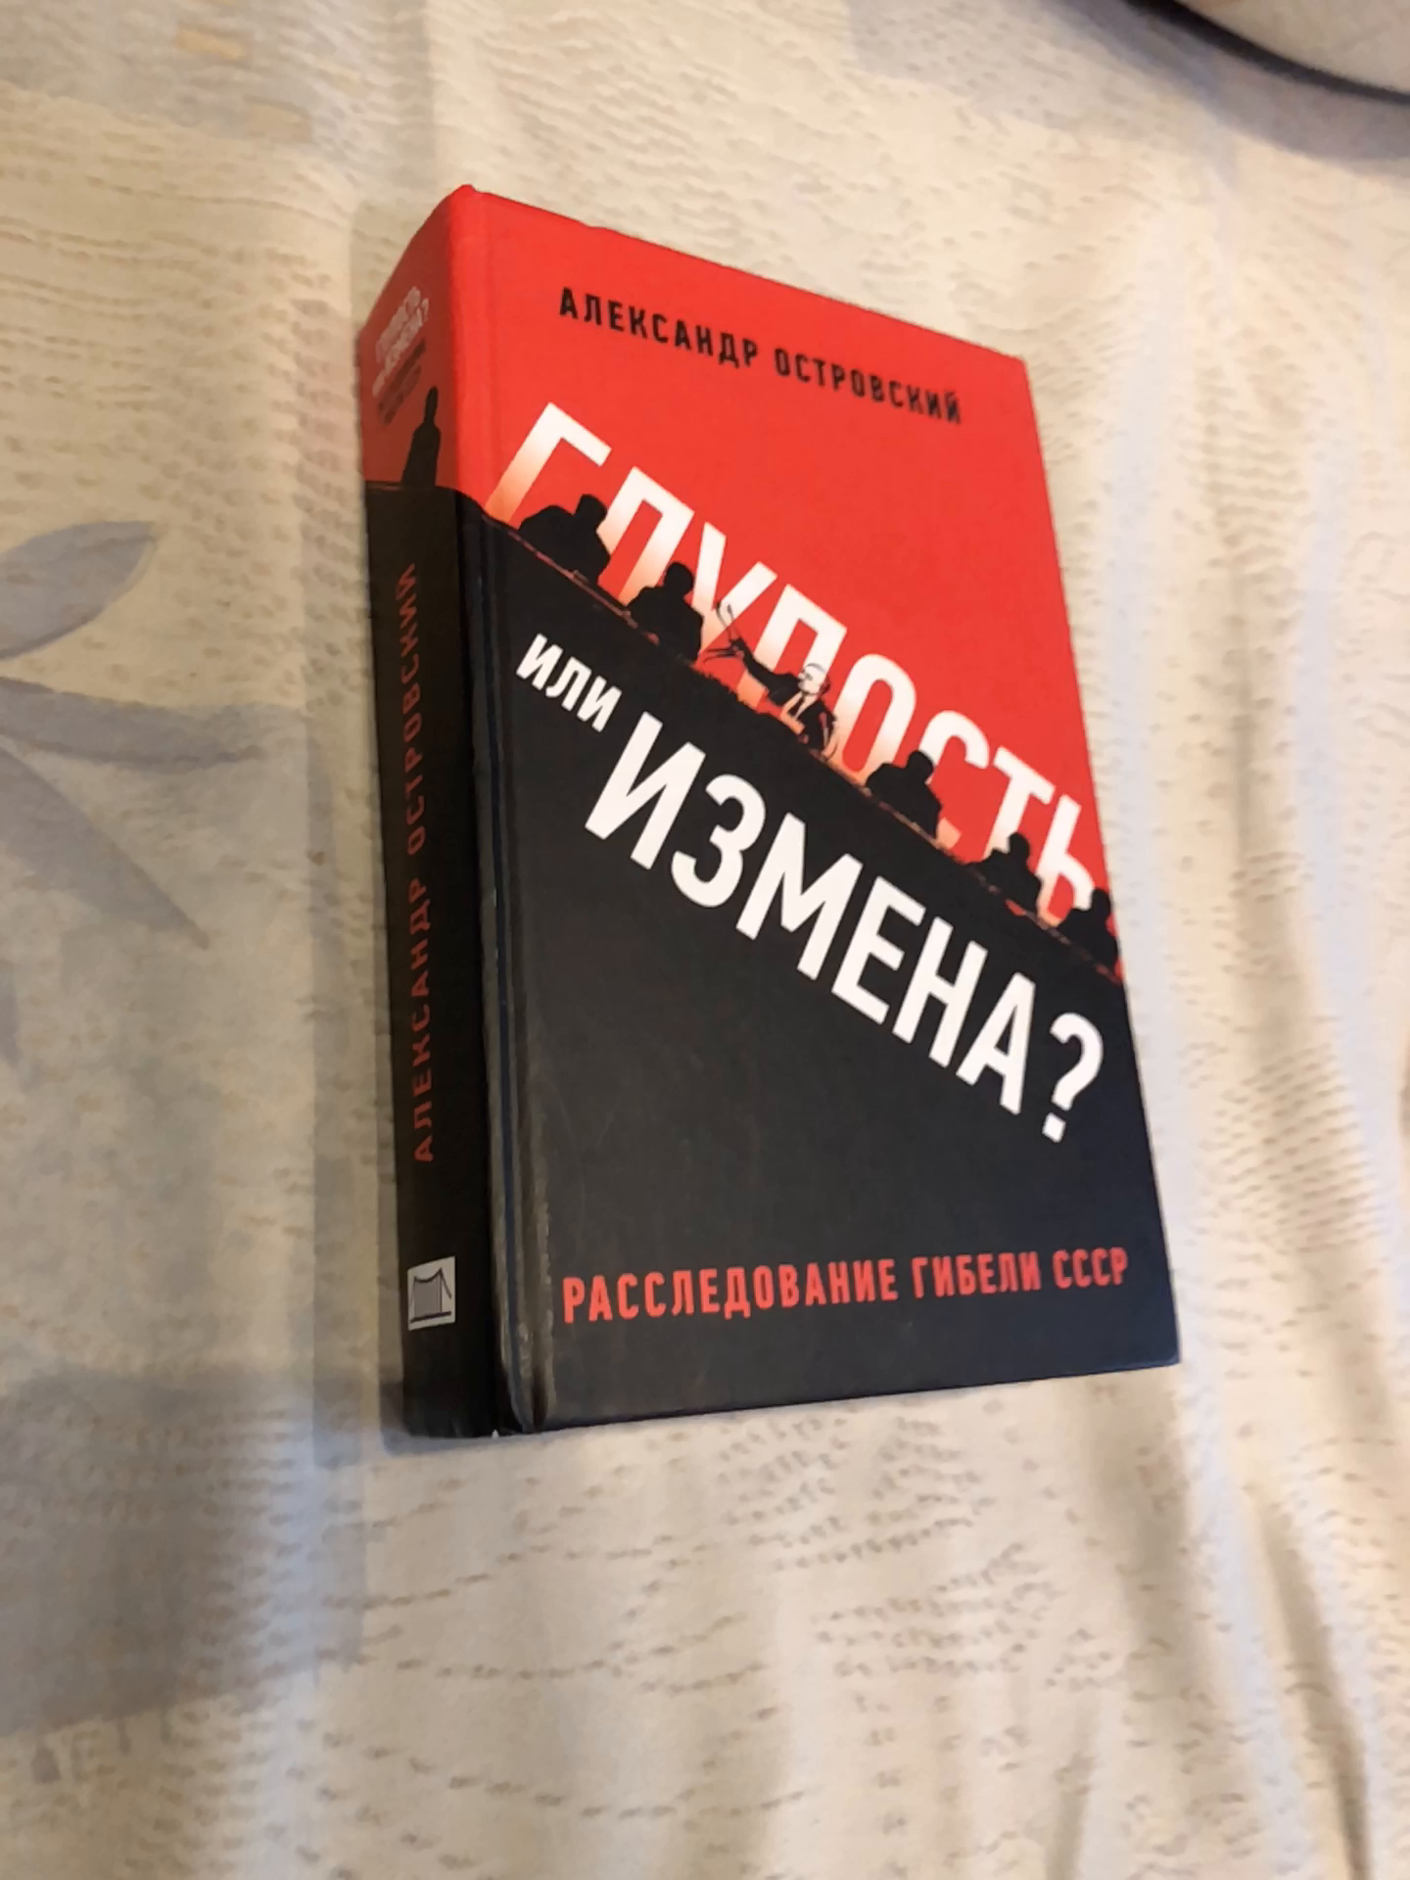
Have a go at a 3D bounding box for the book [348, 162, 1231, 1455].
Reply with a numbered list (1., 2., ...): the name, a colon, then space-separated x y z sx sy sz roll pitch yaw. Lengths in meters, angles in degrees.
1. book: 0.012 -0.019 0.282 0.136 0.050 0.200 4 72 -30
